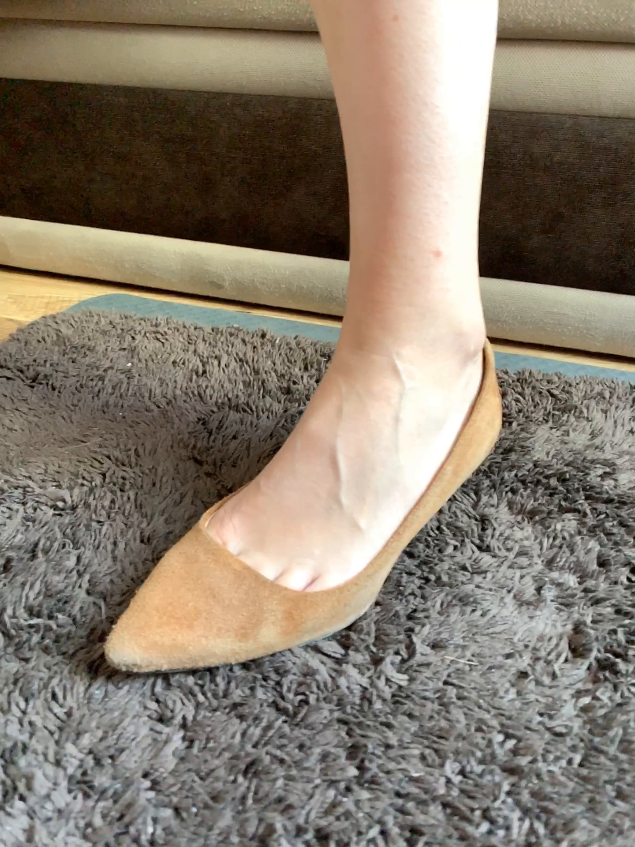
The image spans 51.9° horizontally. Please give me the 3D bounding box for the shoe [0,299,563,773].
[{"bbox_3d":[0.004,0.023,0.306,0.251,0.080,0.090,-27,42,-37],"label":"shoe"}]
